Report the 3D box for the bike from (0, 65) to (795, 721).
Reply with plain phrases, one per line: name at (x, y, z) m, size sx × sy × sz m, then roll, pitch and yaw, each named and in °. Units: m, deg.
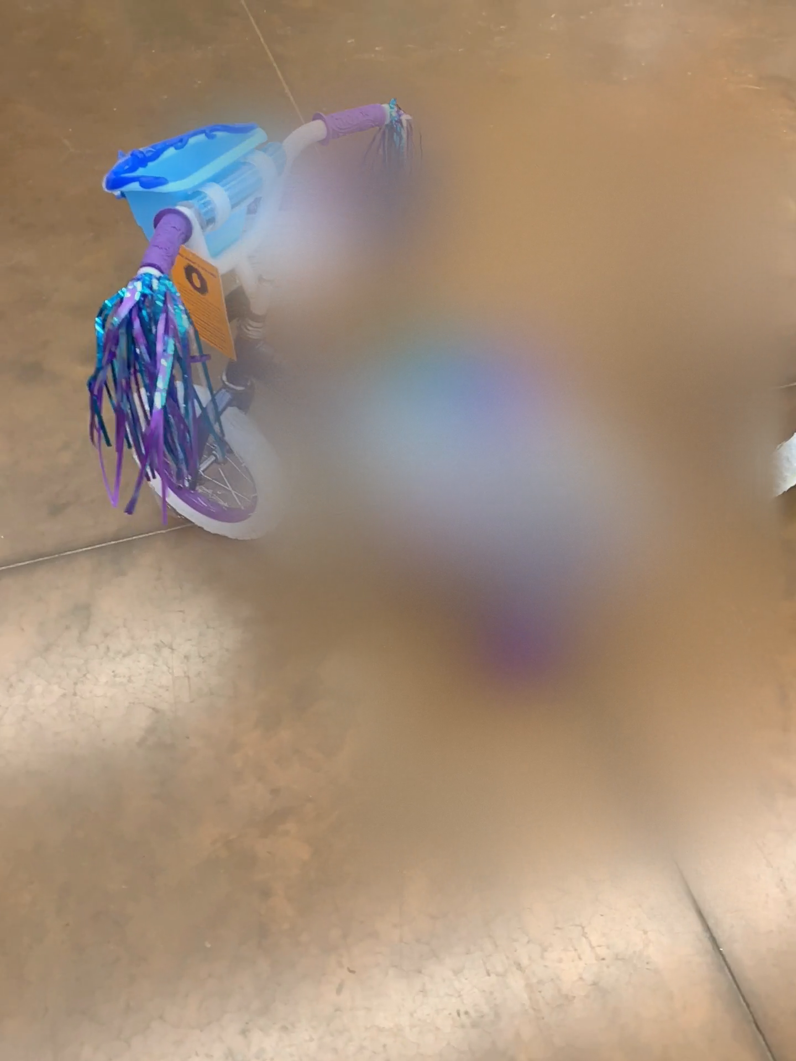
bike at (0.042, -0.133, 1.056) m, size 0.651 × 0.643 × 0.474 m, roll 8°, pitch 54°, yaw 3°
